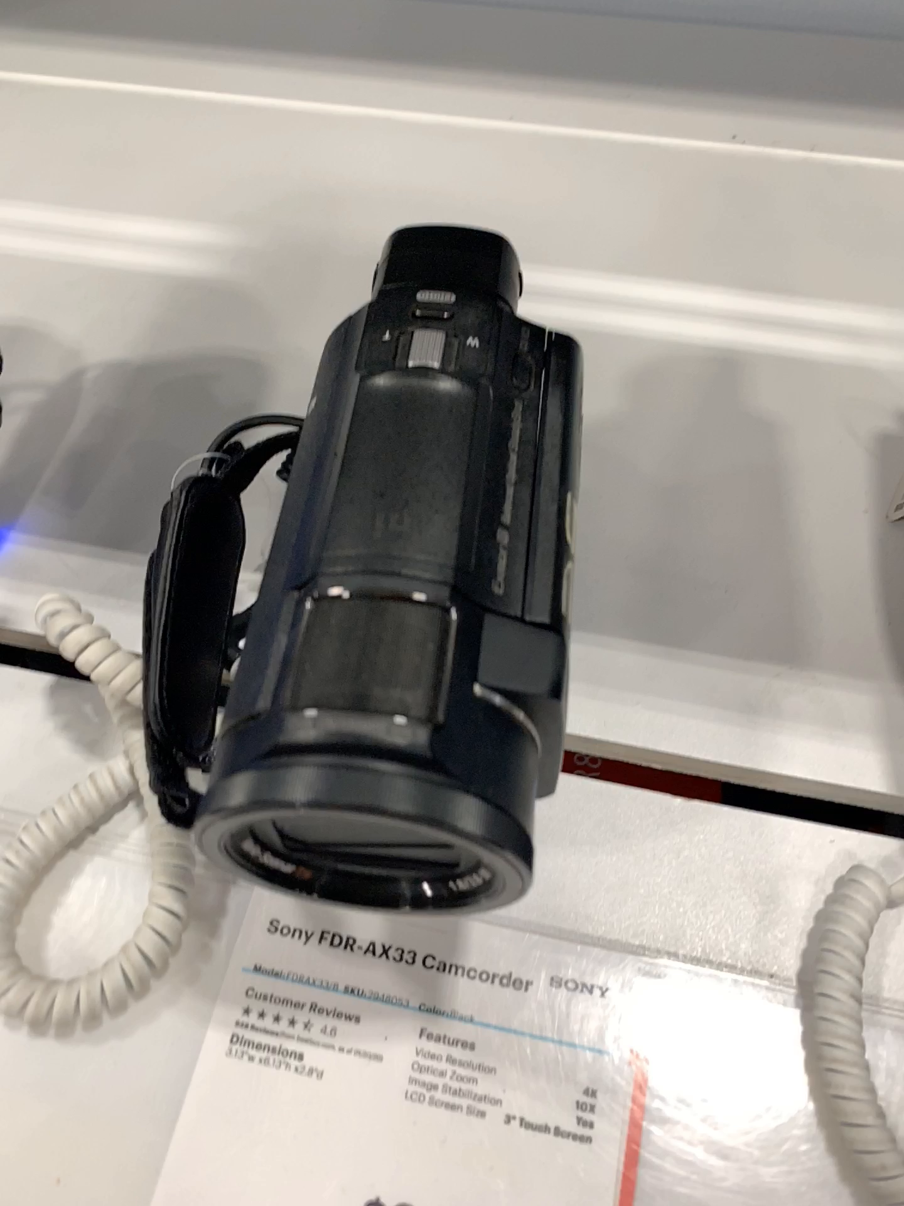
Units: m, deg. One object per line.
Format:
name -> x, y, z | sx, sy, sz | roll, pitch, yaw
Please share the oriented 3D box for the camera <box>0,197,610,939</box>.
camera -> -0.025, -0.012, 0.202 | 0.102, 0.067, 0.136 | 6, 58, 5
